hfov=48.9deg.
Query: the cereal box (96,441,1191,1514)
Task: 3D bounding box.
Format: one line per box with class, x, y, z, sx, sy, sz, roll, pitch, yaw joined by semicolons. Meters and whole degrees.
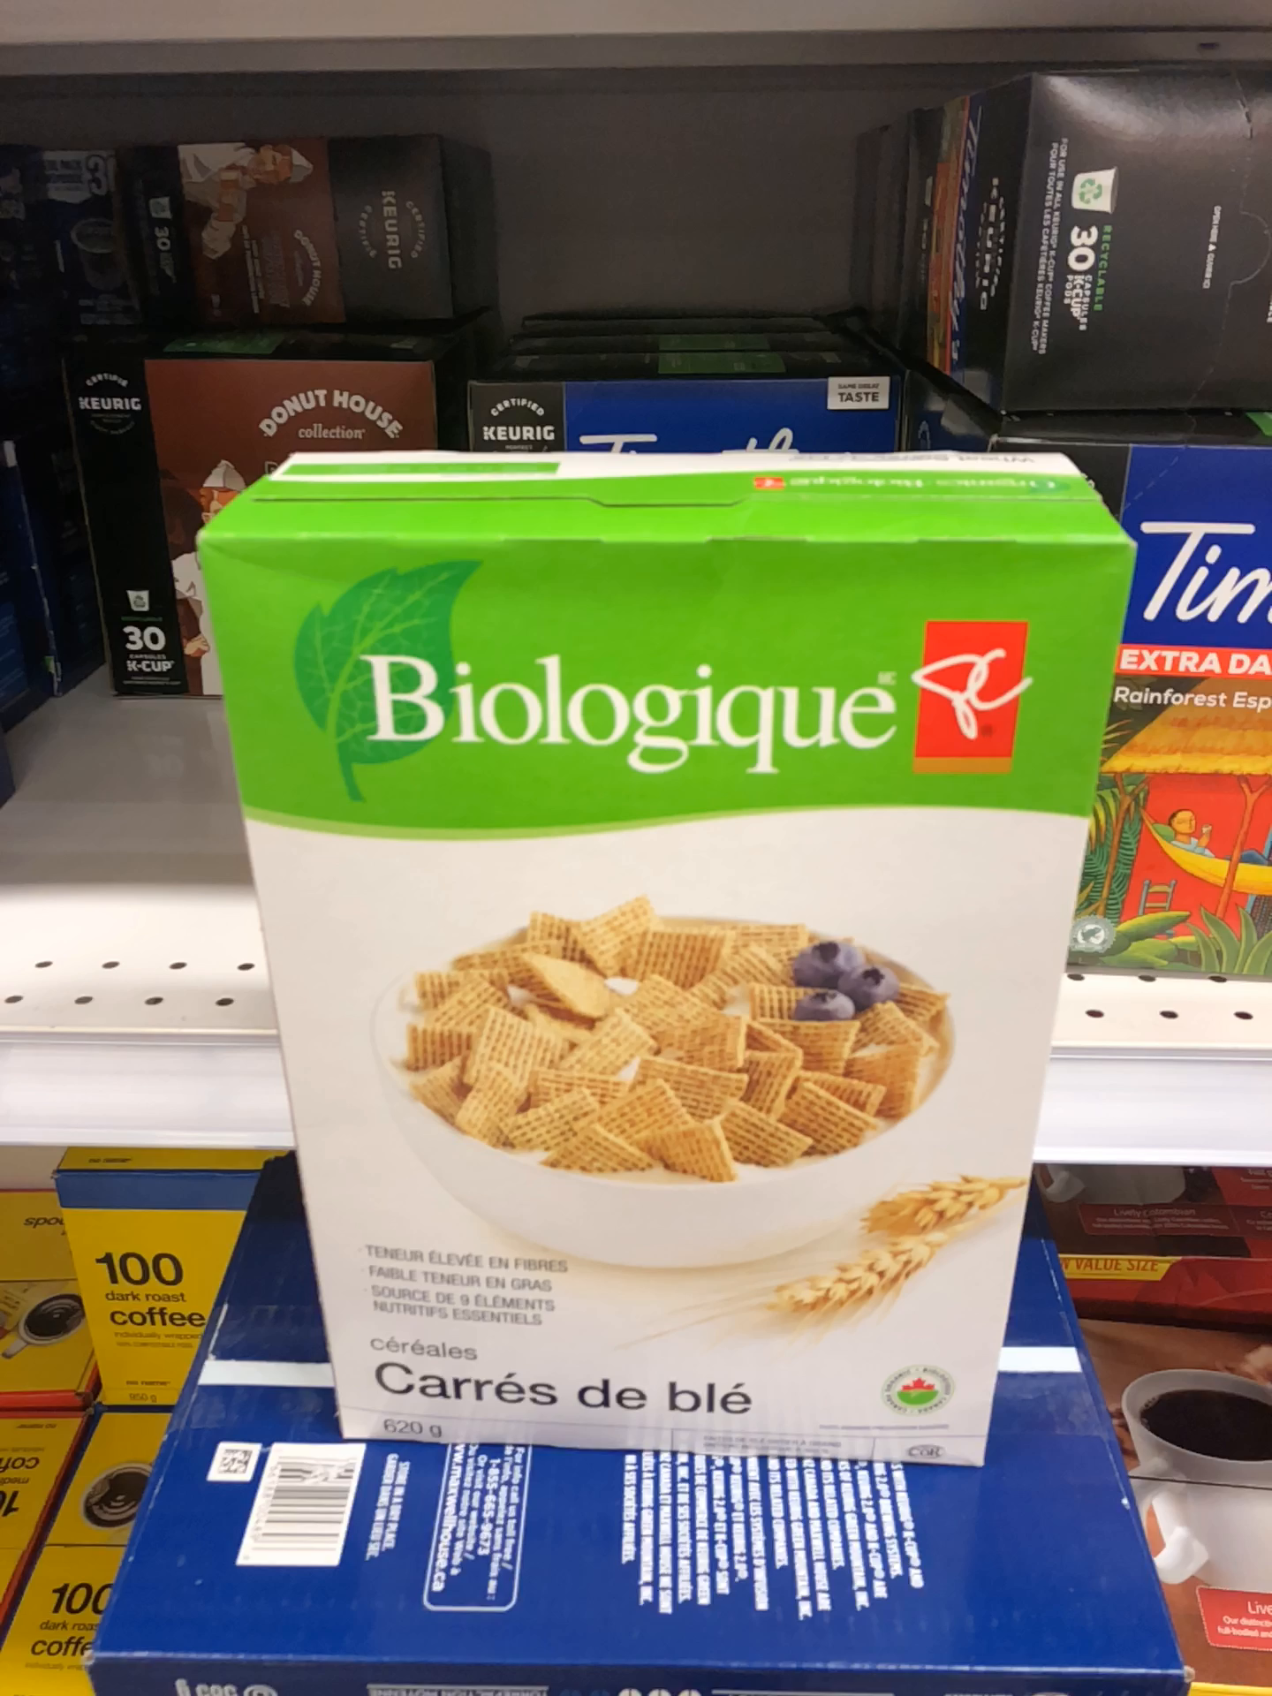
cereal box;0.003;0.048;0.371;0.210;0.289;0.070;2;30;4
